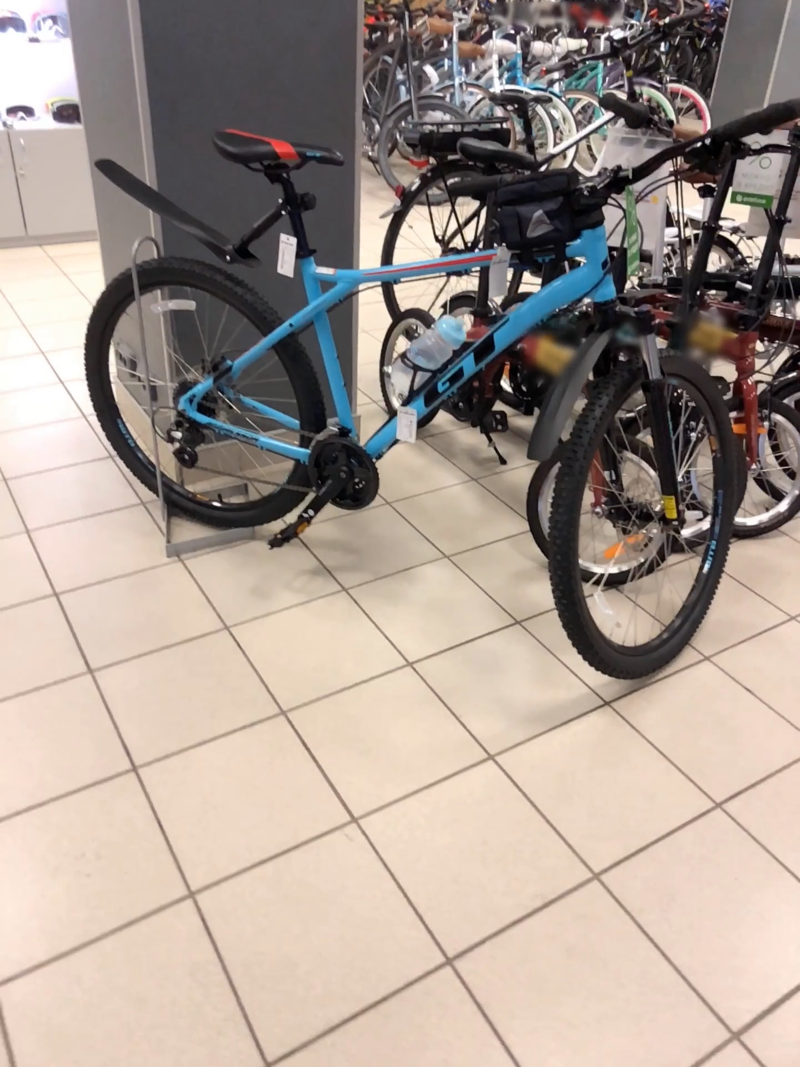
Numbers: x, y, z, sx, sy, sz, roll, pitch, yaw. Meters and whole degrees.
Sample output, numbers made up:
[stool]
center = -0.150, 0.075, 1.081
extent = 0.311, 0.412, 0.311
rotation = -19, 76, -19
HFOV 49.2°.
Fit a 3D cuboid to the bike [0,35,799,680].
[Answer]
[bike]
center = -0.014, -0.440, 2.031
extent = 1.610, 1.084, 0.695
rotation = 10, 32, 8
